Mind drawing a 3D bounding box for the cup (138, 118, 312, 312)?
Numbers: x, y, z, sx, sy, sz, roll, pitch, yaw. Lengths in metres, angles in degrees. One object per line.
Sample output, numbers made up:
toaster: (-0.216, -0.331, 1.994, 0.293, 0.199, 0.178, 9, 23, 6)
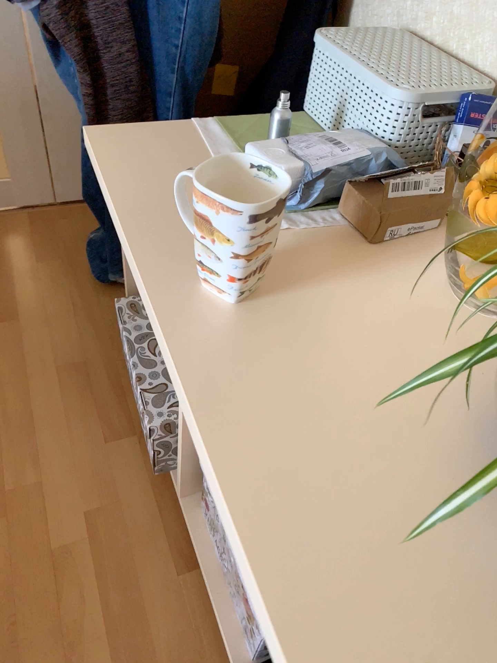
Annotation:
cup: (-0.030, -0.127, 0.544, 0.140, 0.129, 0.101, 35, 50, 23)
